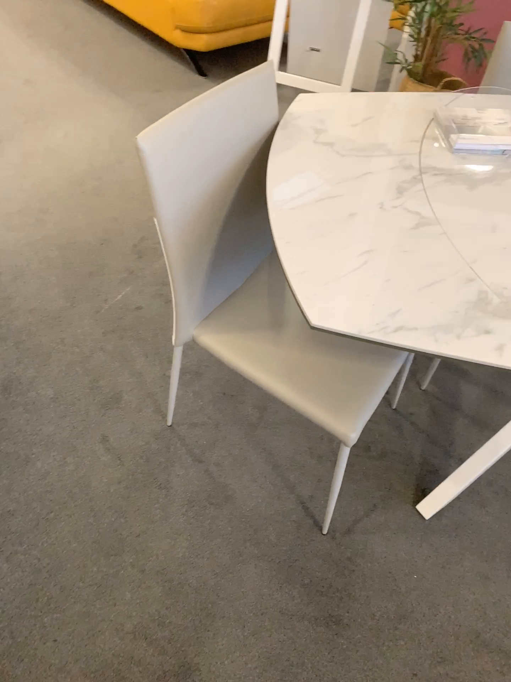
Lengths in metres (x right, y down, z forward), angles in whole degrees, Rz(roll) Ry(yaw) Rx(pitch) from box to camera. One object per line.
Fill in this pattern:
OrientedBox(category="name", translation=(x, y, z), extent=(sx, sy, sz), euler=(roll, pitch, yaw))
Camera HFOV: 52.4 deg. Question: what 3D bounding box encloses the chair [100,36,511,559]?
OrientedBox(category="chair", translation=(0.136, -0.056, 1.126), extent=(0.582, 0.824, 0.535), euler=(28, 53, 17))
